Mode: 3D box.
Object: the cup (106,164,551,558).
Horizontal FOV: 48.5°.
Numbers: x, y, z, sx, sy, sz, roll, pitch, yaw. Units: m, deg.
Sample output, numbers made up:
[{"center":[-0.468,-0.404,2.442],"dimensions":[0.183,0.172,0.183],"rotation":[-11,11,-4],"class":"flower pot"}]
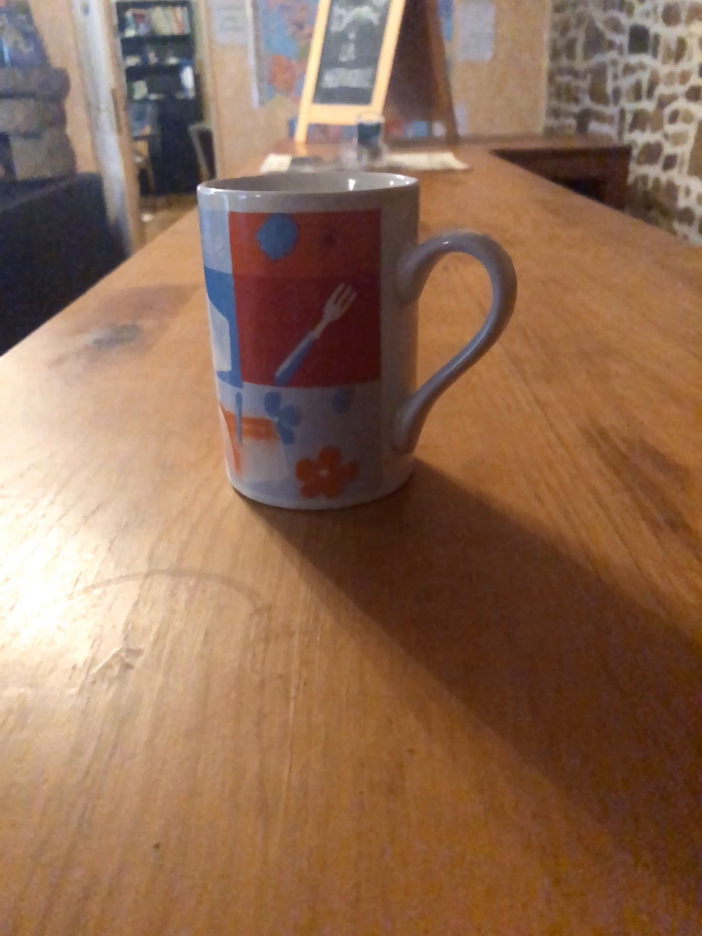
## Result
[{"center":[-0.004,-0.045,0.261],"dimensions":[0.112,0.099,0.080],"rotation":[12,29,28],"class":"cup"}]
